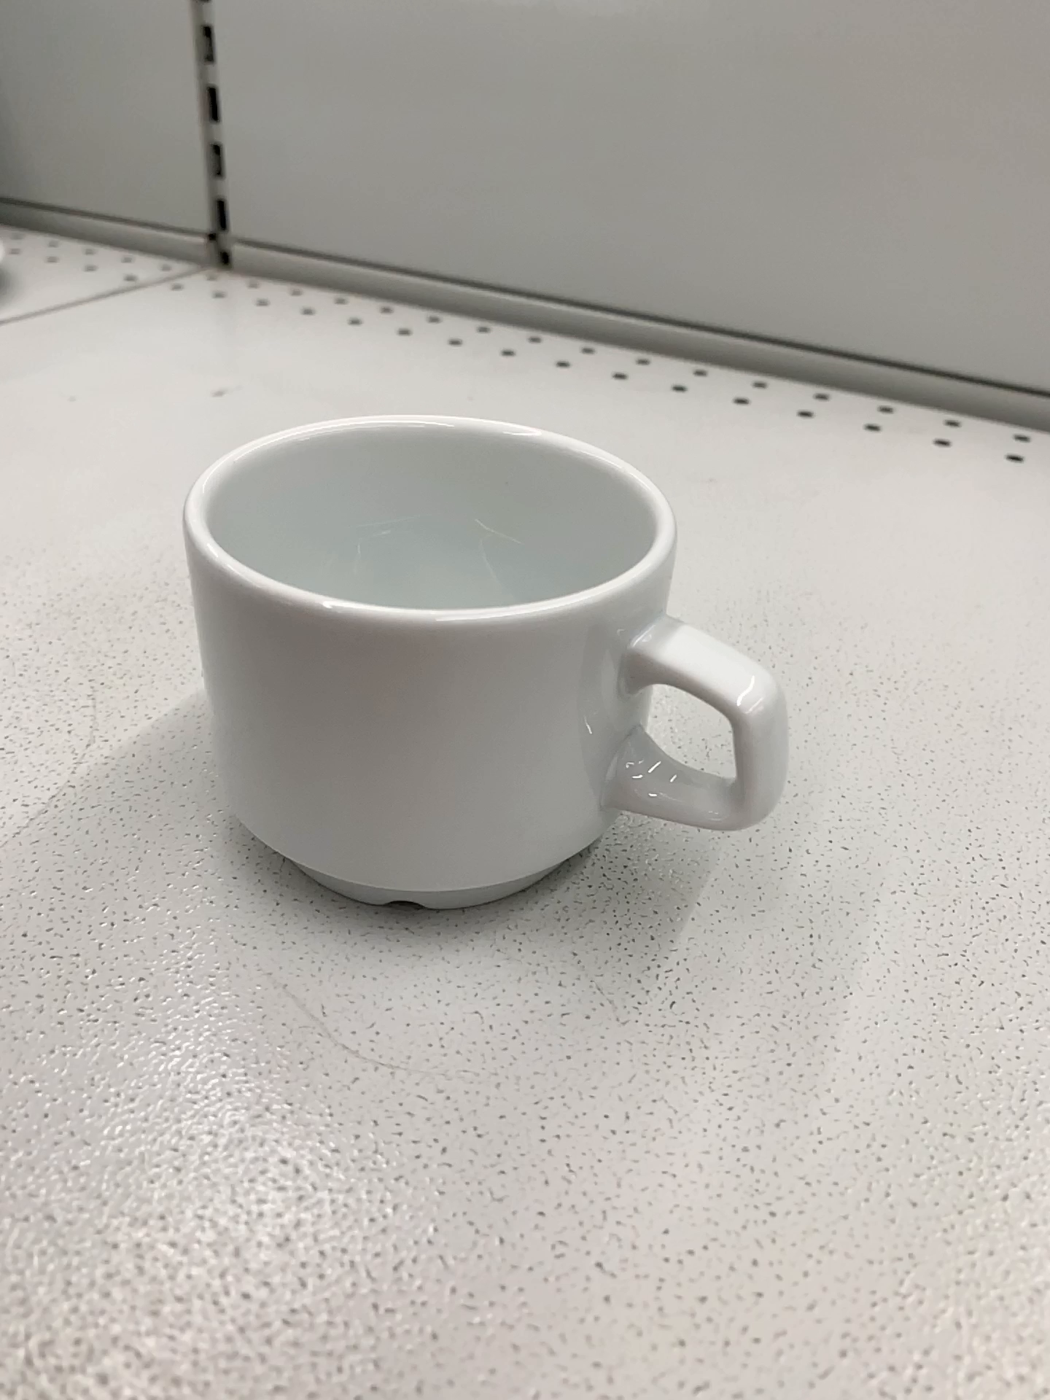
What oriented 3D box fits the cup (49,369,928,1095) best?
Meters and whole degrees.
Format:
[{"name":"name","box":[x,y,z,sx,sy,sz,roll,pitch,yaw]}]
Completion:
[{"name":"cup","box":[-0.003,-0.007,0.180,0.105,0.056,0.082,20,36,23]}]
